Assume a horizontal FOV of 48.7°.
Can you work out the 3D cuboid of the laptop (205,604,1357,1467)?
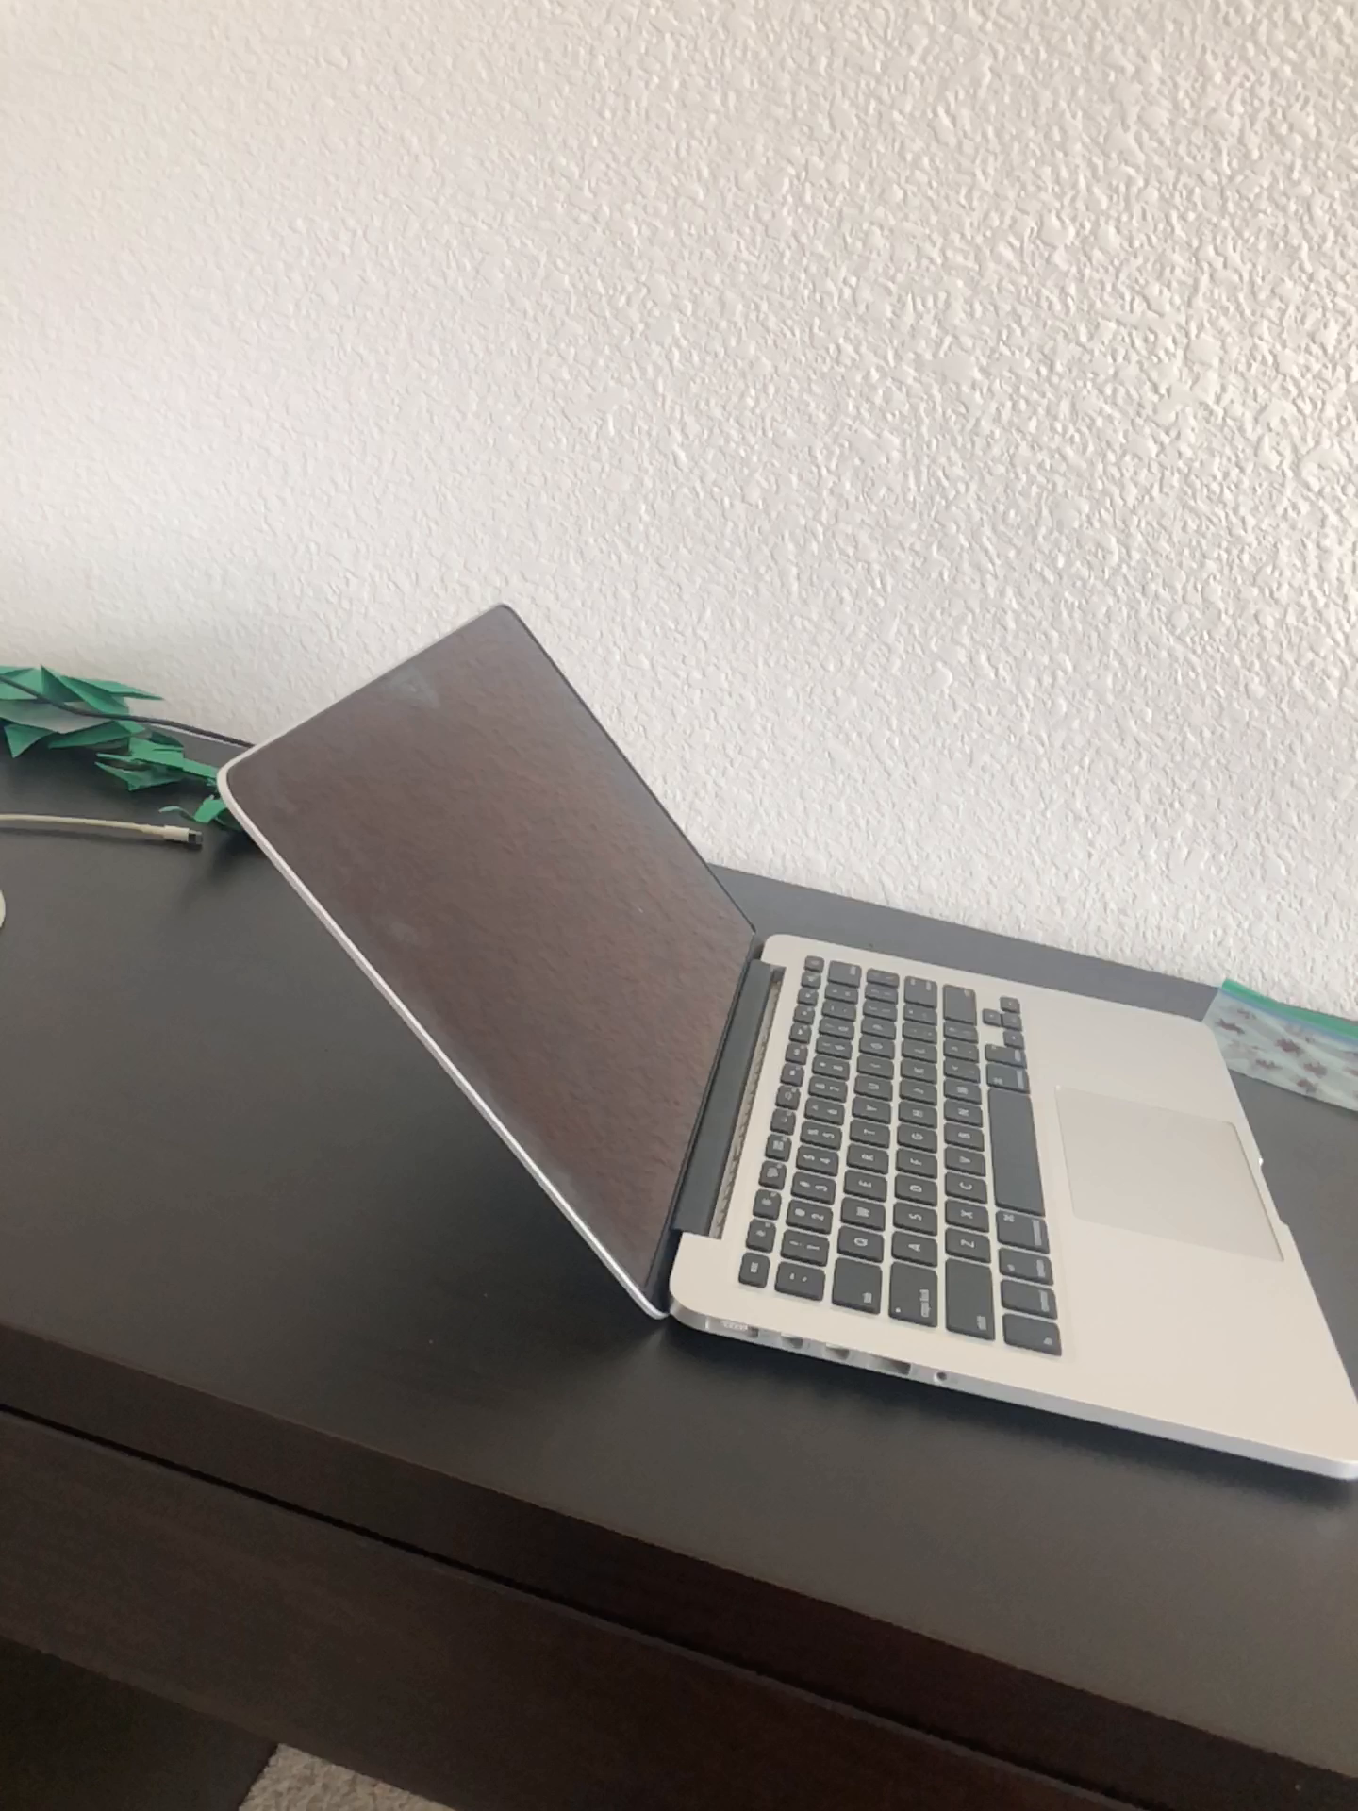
[{"bbox_3d":[0.060,0.010,0.576,0.362,0.133,0.310,12,22,6],"label":"laptop"}]
